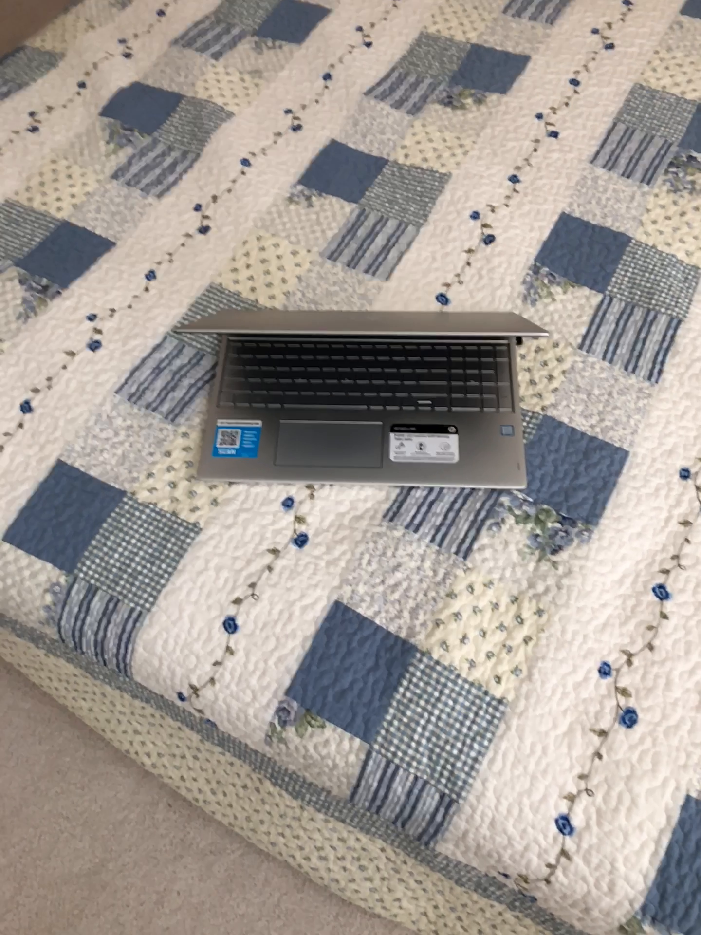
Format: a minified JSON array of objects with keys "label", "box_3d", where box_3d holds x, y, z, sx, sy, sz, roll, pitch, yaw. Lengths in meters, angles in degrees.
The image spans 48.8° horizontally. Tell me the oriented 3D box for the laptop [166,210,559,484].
[{"label":"laptop","box_3d":[0.015,-0.129,0.816,0.348,0.158,0.242,1,57,3]}]
